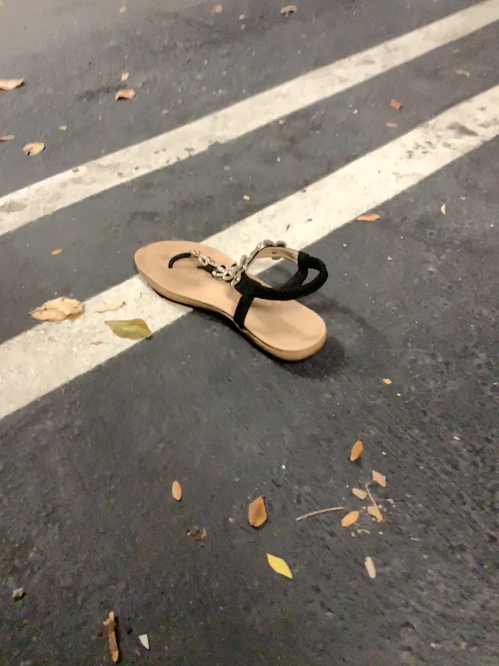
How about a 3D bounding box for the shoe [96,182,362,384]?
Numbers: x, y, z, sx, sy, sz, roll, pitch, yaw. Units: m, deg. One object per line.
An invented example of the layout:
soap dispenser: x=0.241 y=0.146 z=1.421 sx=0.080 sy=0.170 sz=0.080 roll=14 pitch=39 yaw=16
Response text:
shoe: x=-0.027 y=-0.066 z=0.584 sx=0.260 sy=0.060 sz=0.120 roll=31 pitch=57 yaw=30
